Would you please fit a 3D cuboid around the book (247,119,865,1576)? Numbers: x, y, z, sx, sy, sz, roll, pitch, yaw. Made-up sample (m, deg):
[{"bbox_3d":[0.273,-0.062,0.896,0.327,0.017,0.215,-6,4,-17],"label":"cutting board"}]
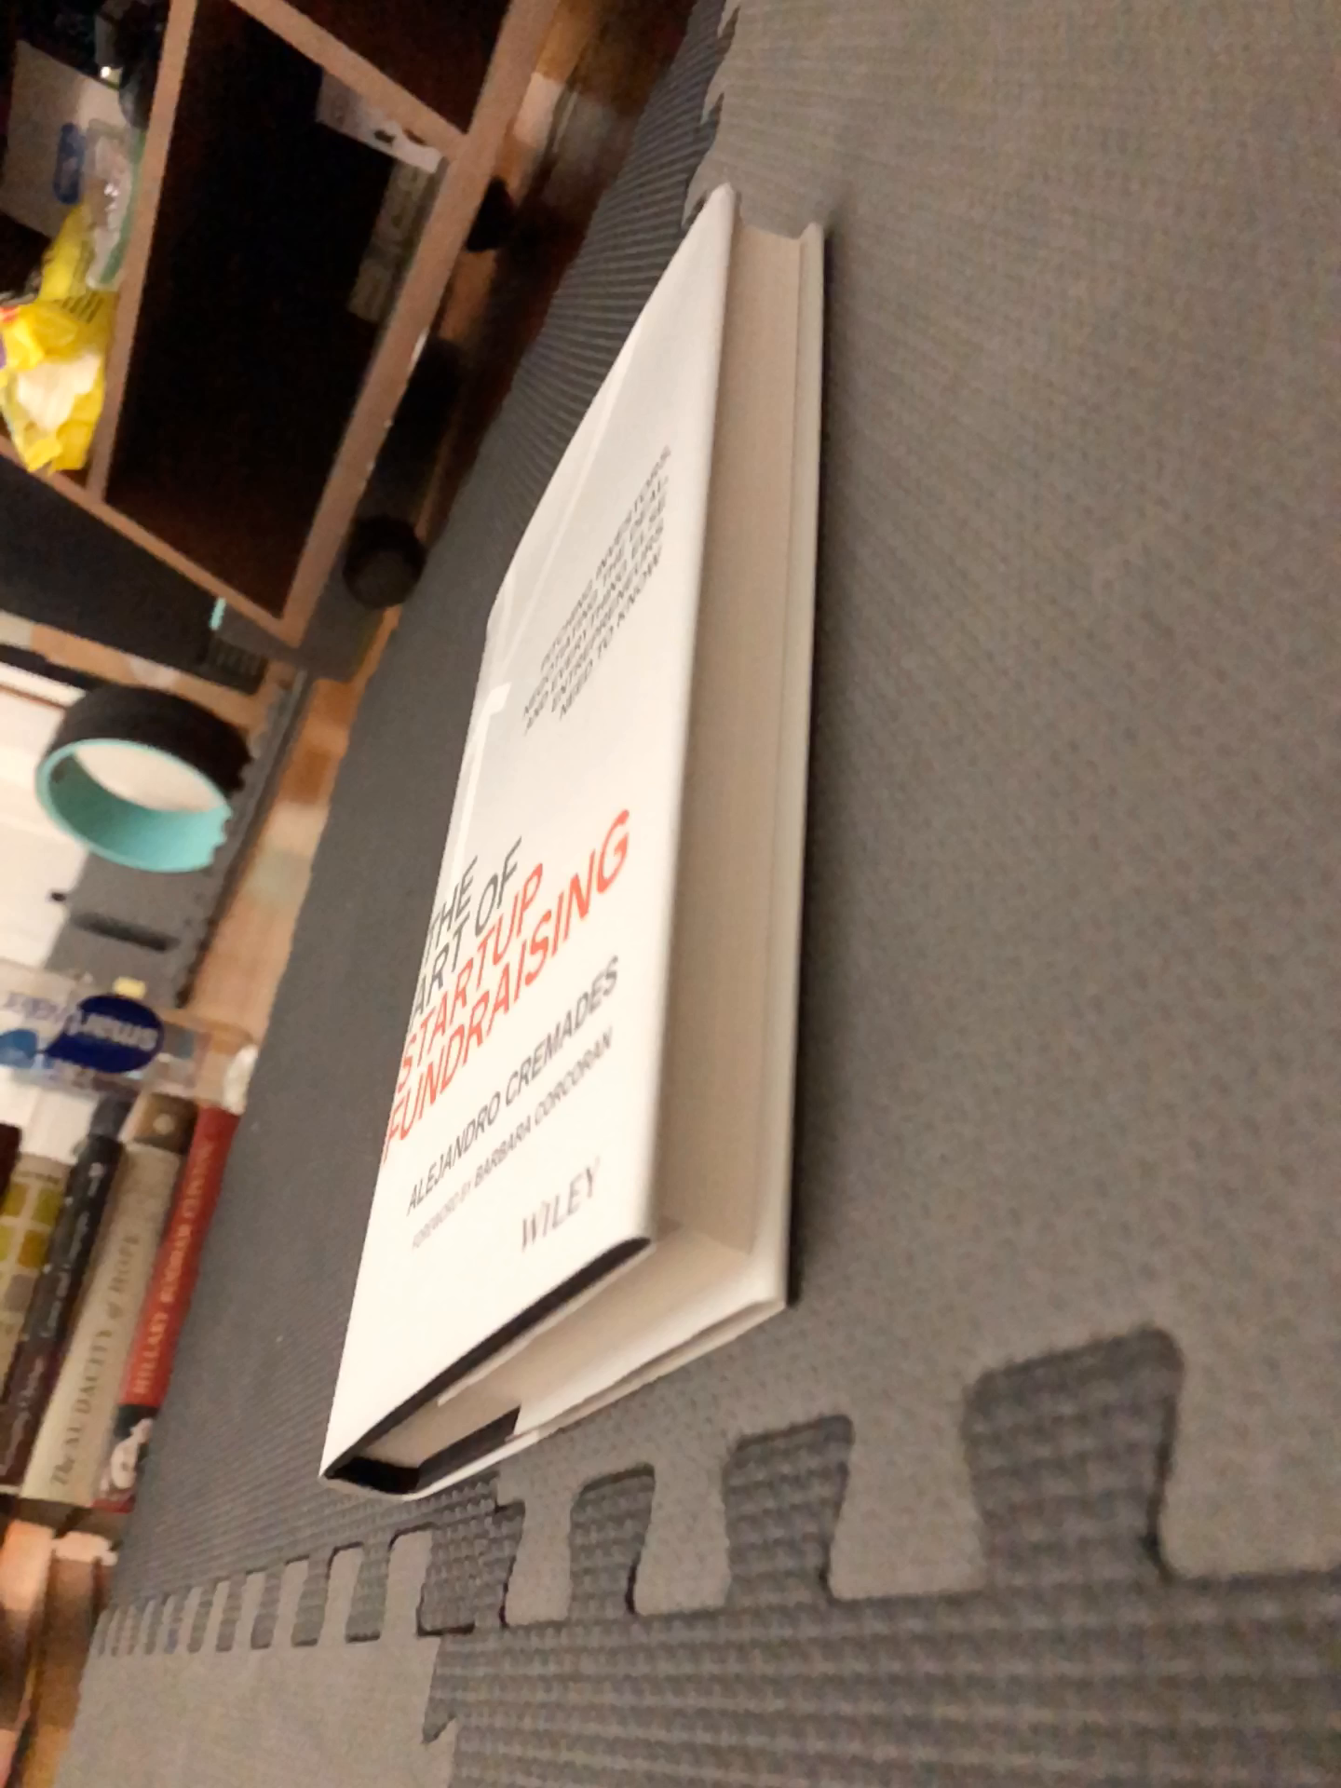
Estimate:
[{"bbox_3d":[-0.022,-0.009,0.302,0.170,0.030,0.251,132,151,-51],"label":"book"}]
